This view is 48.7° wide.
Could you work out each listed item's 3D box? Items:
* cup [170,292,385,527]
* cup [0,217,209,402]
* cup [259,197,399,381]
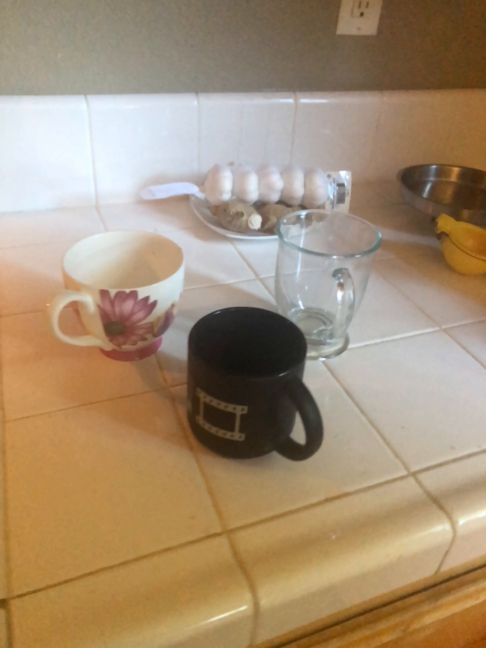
[{"bbox_3d":[0.018,0.058,0.415,0.100,0.089,0.131,-17,42,-28],"label":"cup"},{"bbox_3d":[-0.121,-0.021,0.487,0.110,0.079,0.141,29,42,28],"label":"cup"},{"bbox_3d":[0.072,-0.036,0.508,0.100,0.119,0.121,5,36,0],"label":"cup"}]
